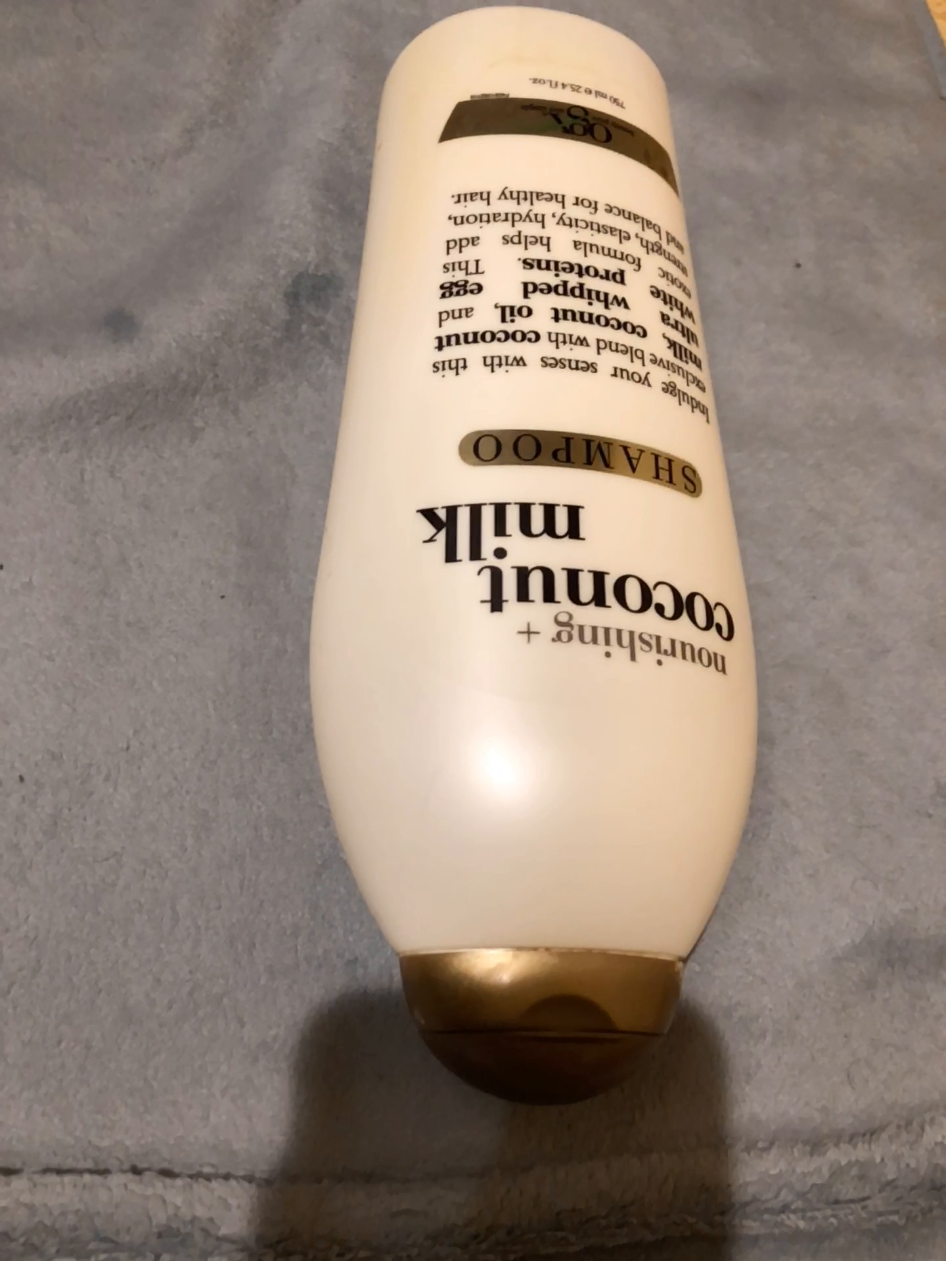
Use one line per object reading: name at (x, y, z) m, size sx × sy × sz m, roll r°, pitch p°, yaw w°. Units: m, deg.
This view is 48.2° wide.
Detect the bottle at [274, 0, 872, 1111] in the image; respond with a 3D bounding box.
bottle at (0.014, -0.031, 0.201) m, size 0.080 × 0.040 × 0.220 m, roll 6°, pitch 66°, yaw -11°
